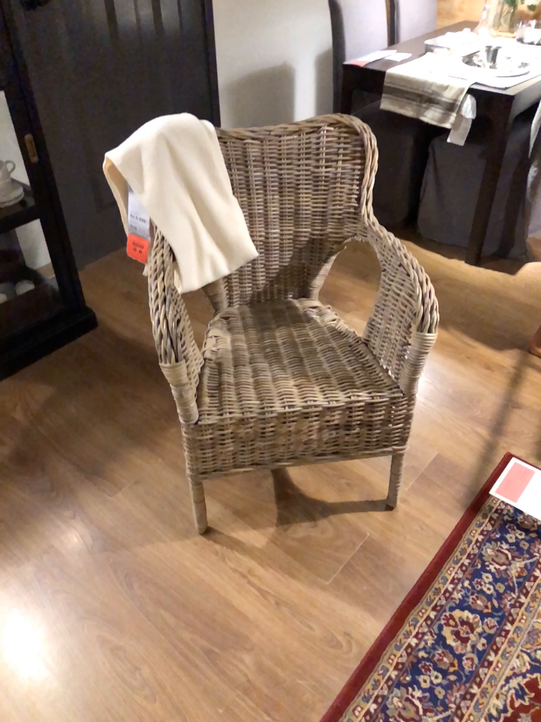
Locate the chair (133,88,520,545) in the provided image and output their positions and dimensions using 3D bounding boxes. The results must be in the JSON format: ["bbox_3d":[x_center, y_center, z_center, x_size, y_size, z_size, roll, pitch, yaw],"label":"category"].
[{"bbox_3d":[0.050,-0.119,1.420,0.620,0.814,0.634,-7,39,-7],"label":"chair"}]
